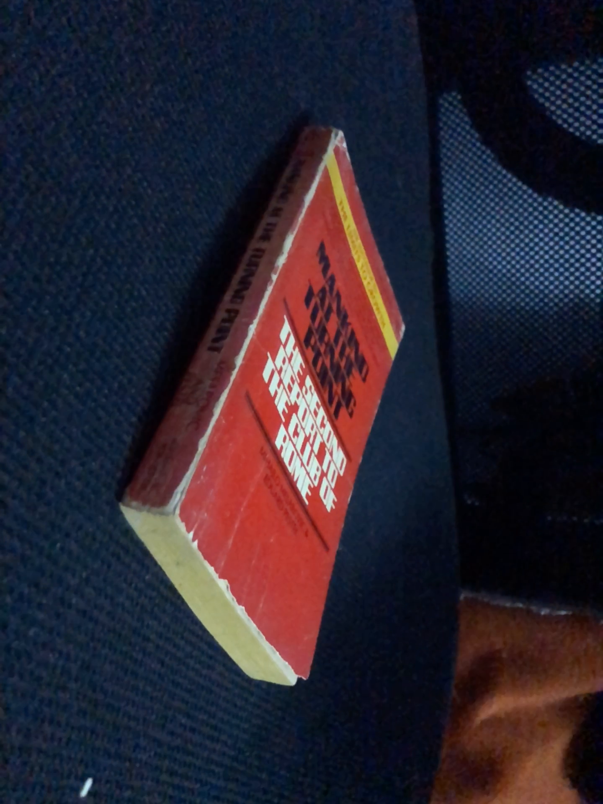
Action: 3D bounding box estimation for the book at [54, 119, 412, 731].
[{"bbox_3d":[-0.001,0.000,0.252,0.117,0.025,0.195,64,36,-43],"label":"book"}]
